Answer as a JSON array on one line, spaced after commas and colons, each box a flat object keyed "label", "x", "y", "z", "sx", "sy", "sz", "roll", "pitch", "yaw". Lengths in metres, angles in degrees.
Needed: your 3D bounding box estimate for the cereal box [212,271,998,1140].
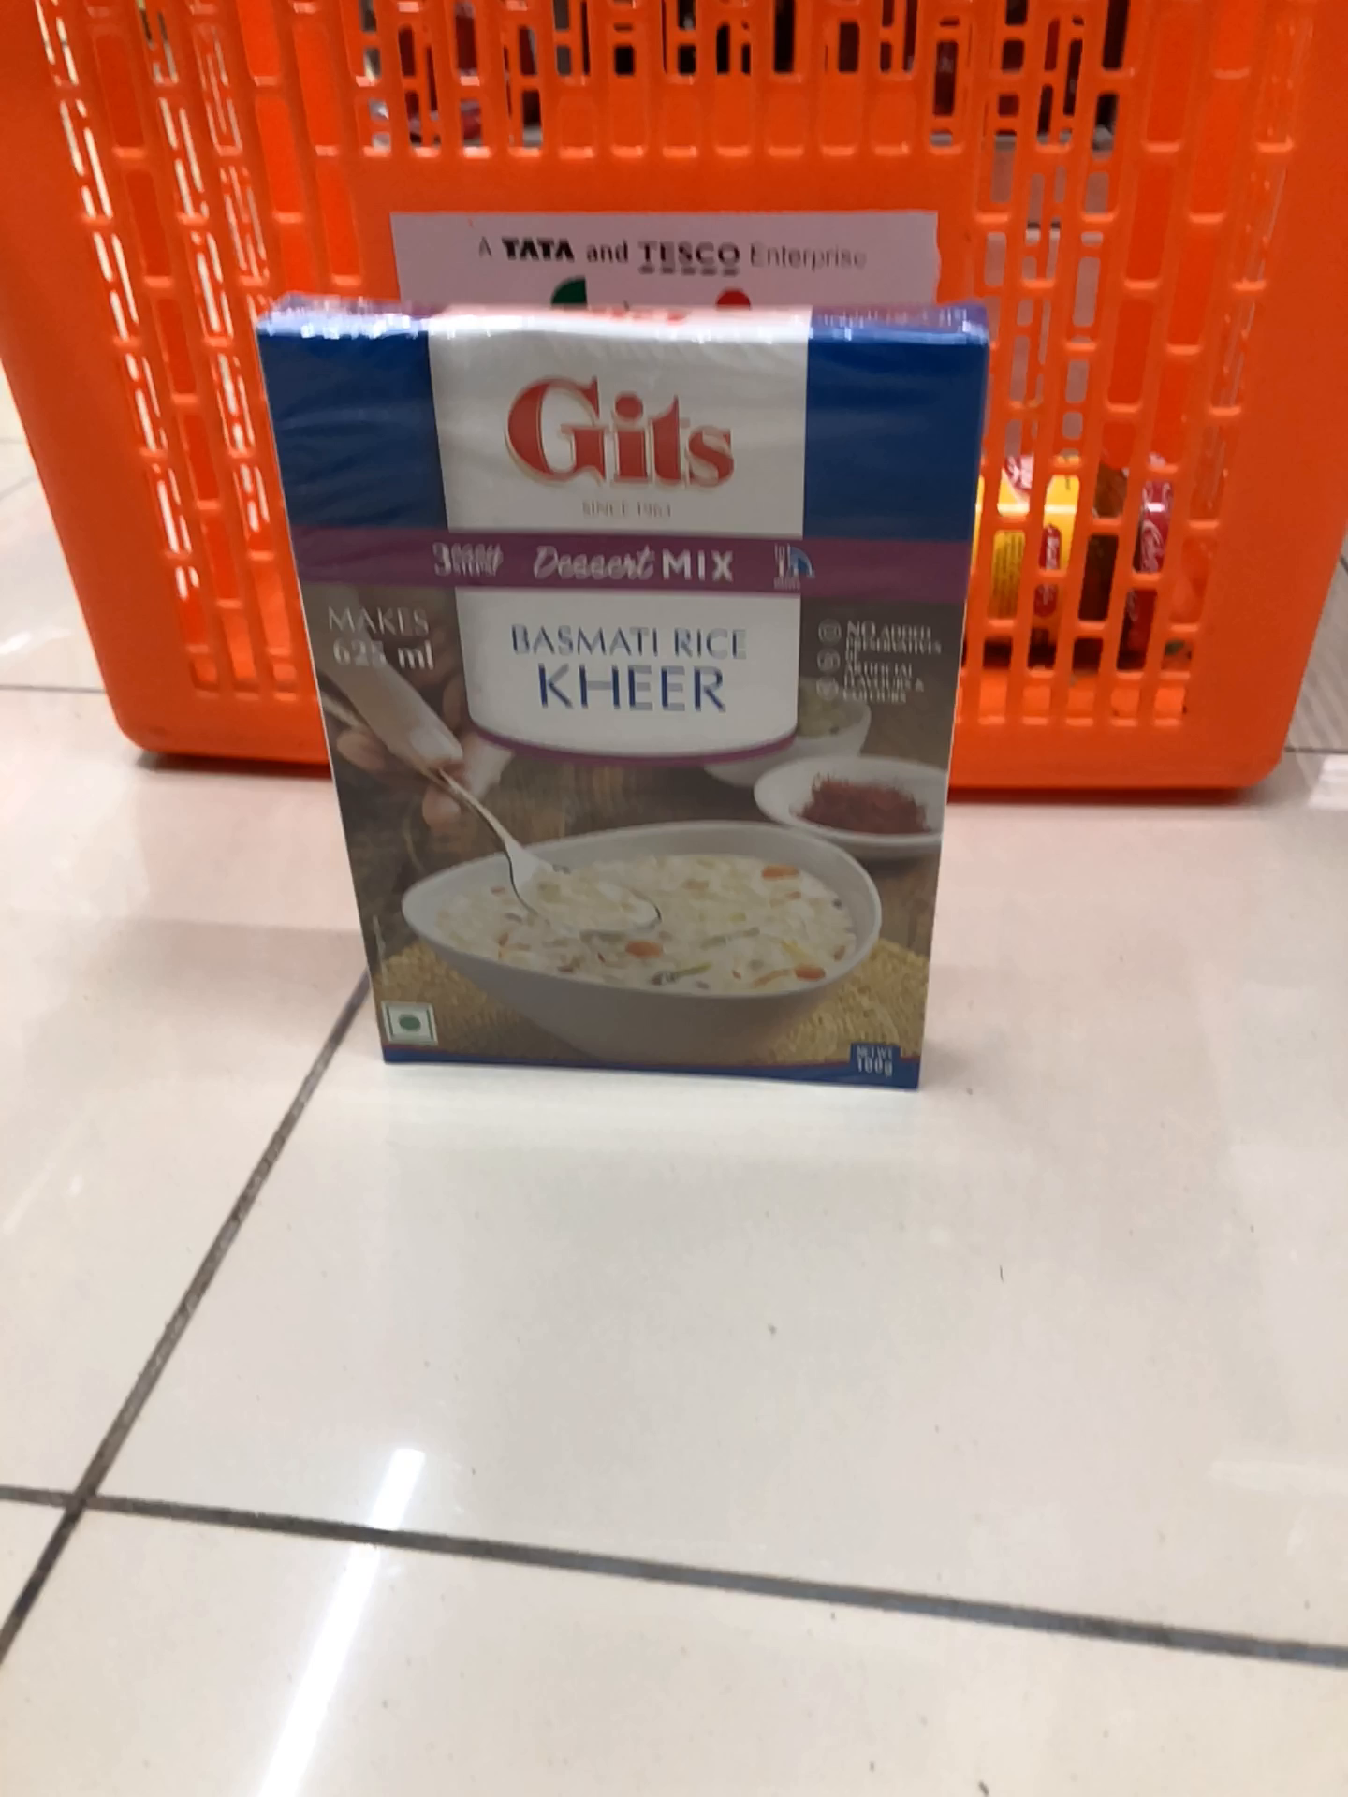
[{"label": "cereal box", "x": -0.009, "y": -0.030, "z": 0.280, "sx": 0.120, "sy": 0.159, "sz": 0.030, "roll": 3, "pitch": 32, "yaw": 6}]
